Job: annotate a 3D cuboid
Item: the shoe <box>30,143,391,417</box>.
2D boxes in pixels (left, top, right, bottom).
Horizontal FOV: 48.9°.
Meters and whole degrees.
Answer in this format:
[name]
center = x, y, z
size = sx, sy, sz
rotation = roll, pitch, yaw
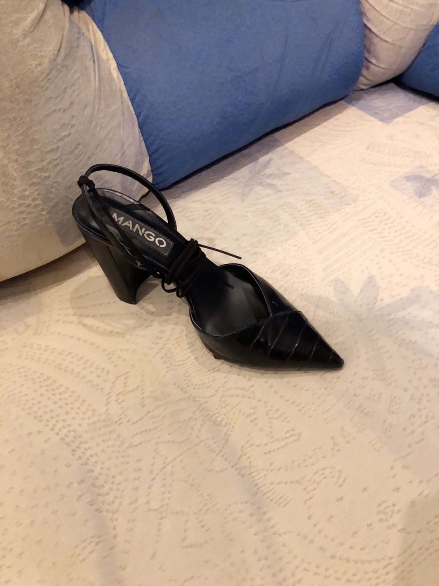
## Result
[shoe]
center = -0.010, -0.016, 0.377
size = 0.240, 0.119, 0.084
rotation = 21, 56, 22
